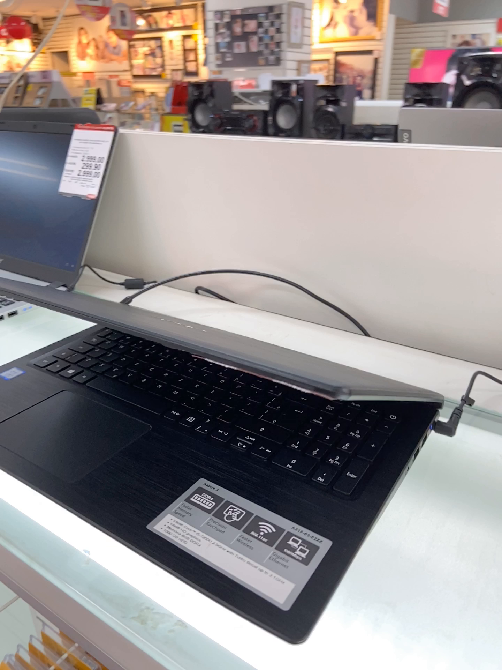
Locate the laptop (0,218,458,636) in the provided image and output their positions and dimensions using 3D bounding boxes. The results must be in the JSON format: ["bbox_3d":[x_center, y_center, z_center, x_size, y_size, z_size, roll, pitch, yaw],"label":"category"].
[{"bbox_3d":[-0.072,0.008,0.412,0.381,0.118,0.237,15,28,30],"label":"laptop"}]
